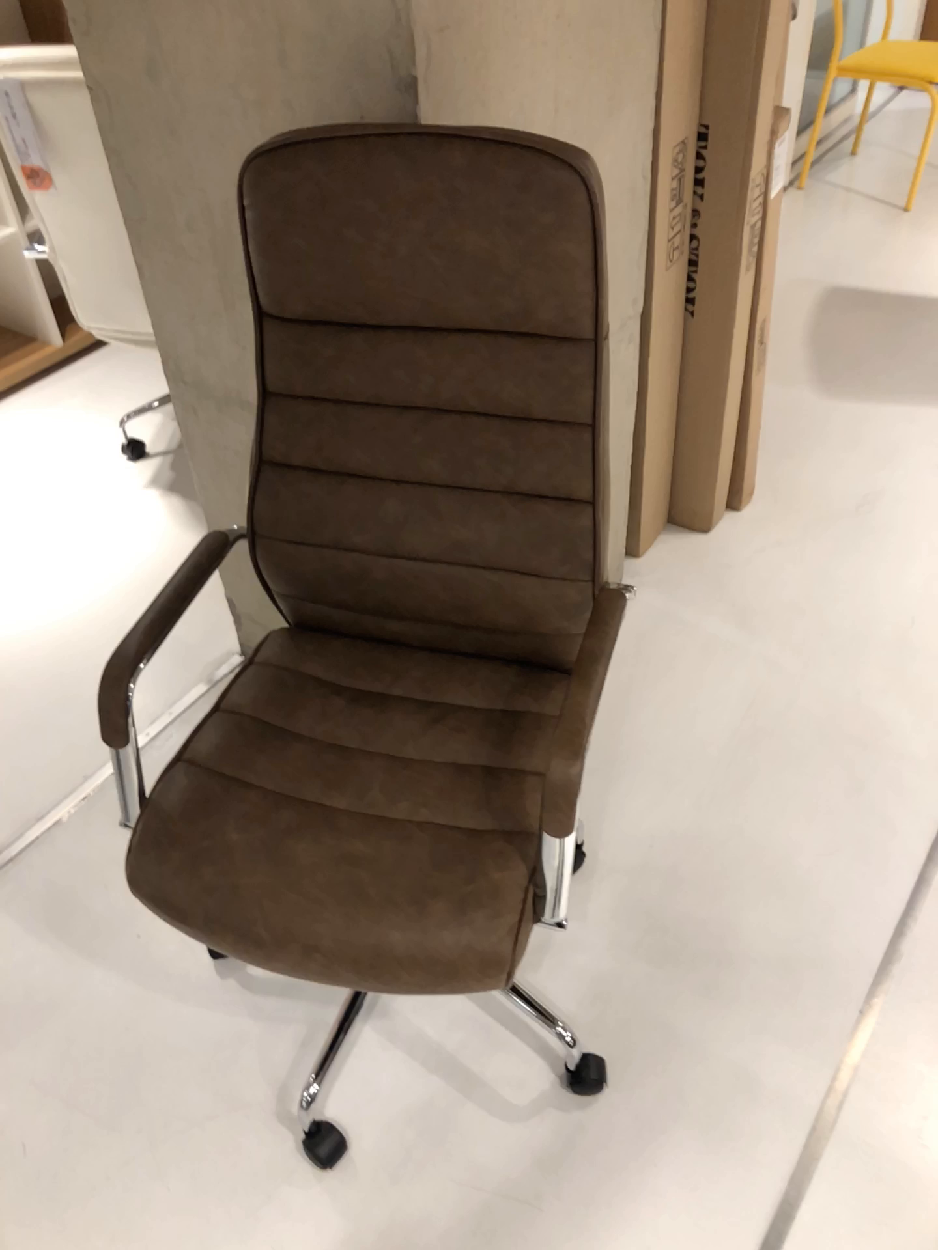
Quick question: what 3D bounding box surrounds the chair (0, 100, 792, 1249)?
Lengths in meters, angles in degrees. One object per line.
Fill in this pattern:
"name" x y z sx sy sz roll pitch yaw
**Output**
"chair" -0.096 0.068 1.103 0.640 0.963 0.634 11 44 16
